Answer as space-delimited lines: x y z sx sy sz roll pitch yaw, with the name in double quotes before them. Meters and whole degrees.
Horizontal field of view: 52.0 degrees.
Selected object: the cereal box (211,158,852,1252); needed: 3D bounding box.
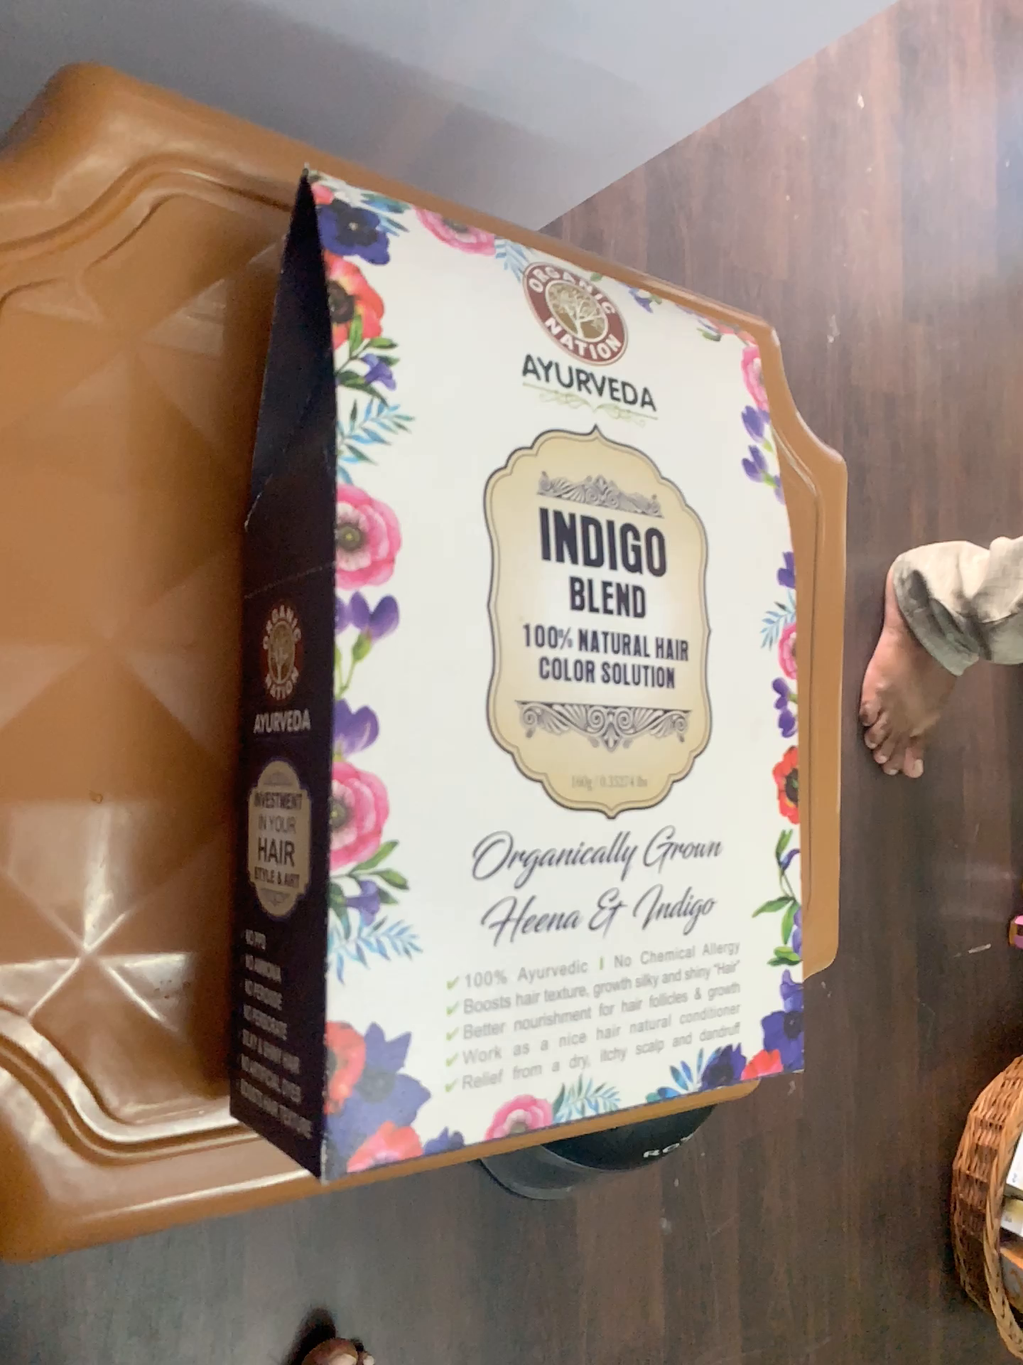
"cereal box" 0.010 0.006 0.260 0.141 0.070 0.200 4 85 -35
